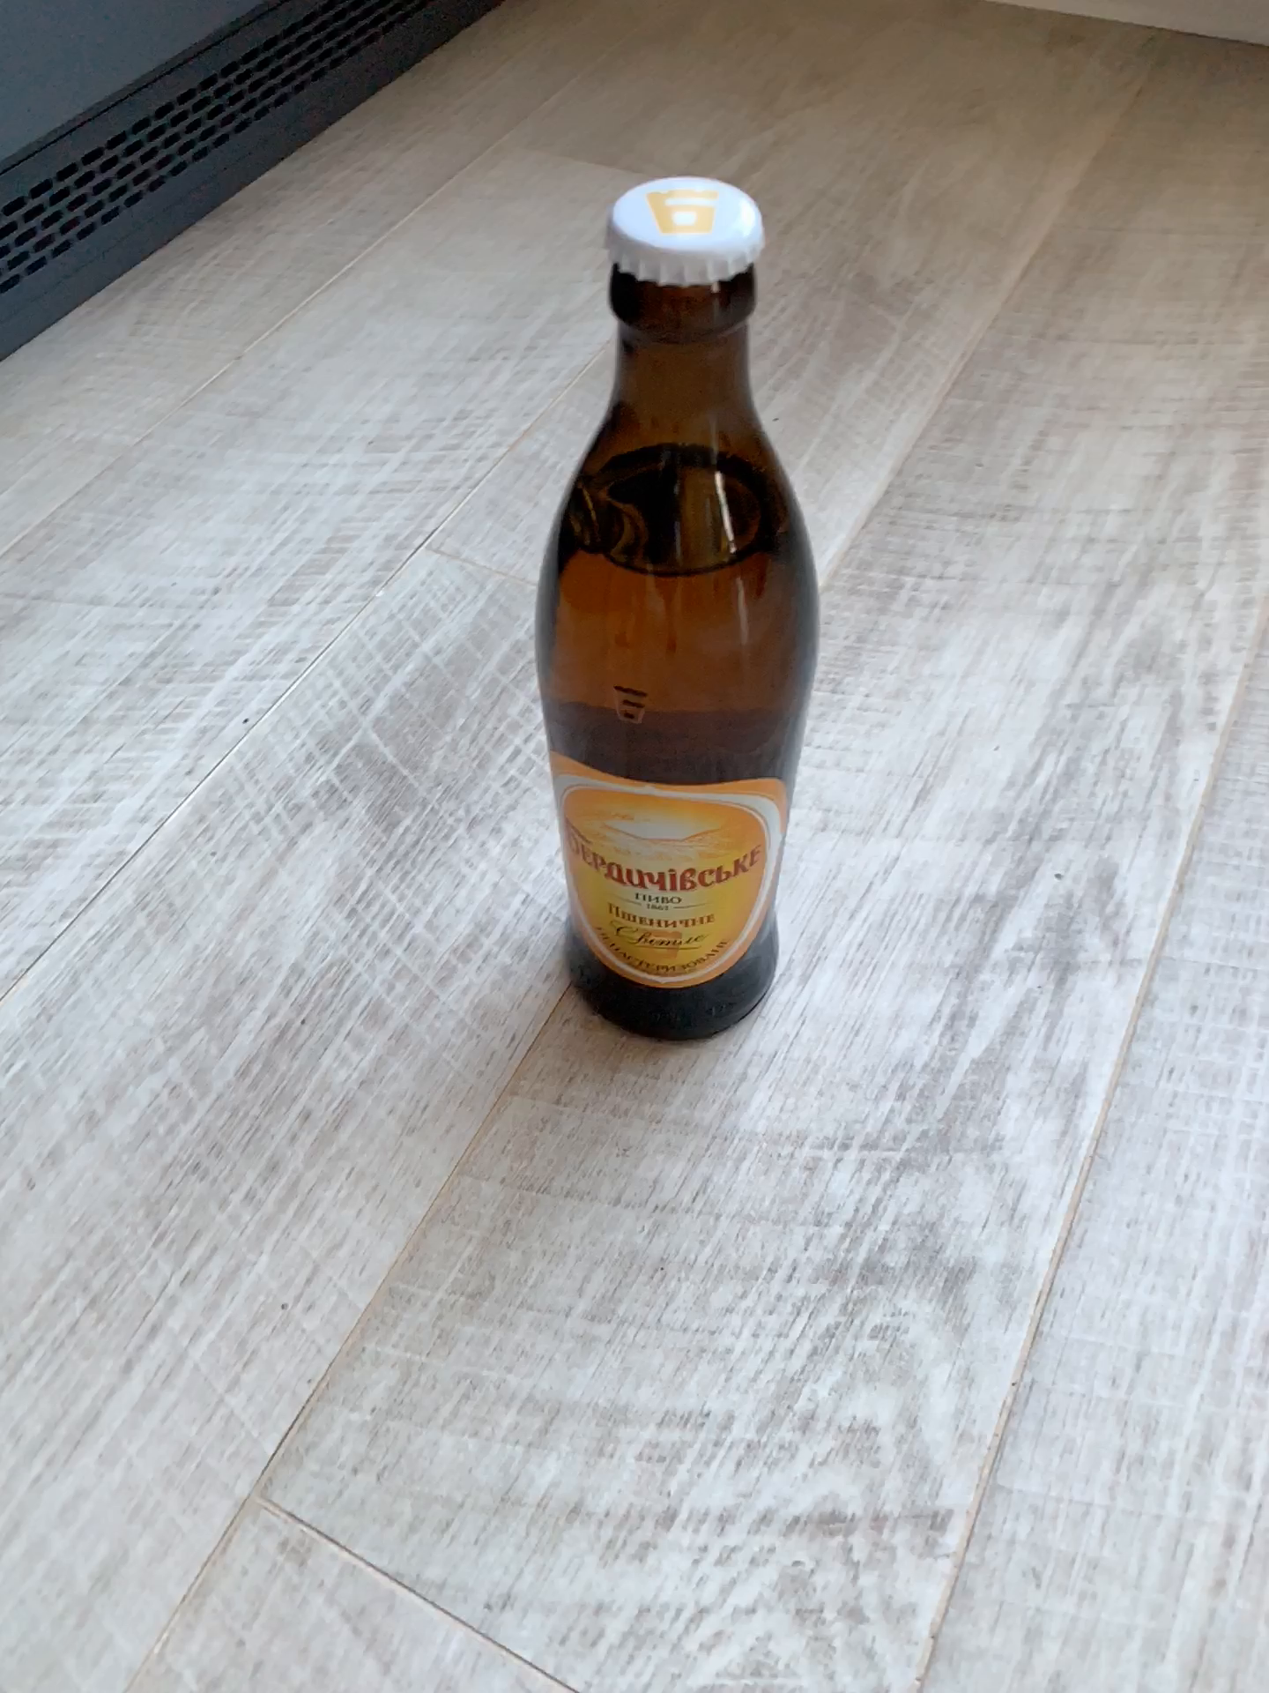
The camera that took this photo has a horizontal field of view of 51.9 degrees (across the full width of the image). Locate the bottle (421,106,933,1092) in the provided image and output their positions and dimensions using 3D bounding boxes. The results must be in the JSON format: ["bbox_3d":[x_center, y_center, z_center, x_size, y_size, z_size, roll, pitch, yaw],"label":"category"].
[{"bbox_3d":[0.013,-0.034,0.307,0.070,0.229,0.070,-1,52,1],"label":"bottle"}]
